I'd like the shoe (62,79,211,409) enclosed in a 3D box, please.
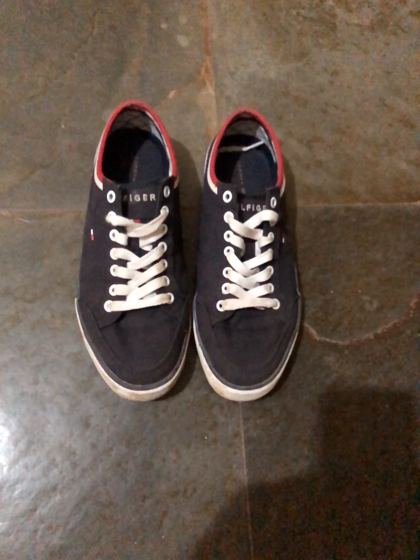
[{"bbox_3d":[-0.071,-0.035,0.440,0.110,0.100,0.291,-2,72,-8],"label":"shoe"}]

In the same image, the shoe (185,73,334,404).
[{"bbox_3d":[0.034,-0.039,0.451,0.110,0.100,0.301,1,71,-7],"label":"shoe"}]
